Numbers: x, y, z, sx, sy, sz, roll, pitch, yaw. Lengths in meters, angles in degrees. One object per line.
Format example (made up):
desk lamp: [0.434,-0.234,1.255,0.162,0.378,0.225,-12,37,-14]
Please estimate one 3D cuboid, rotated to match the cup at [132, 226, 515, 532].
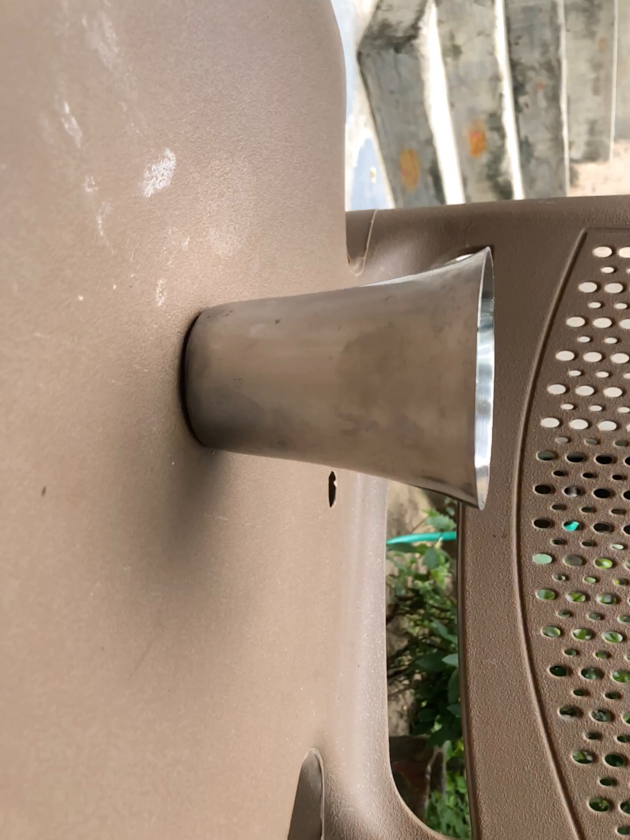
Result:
cup: [0.012,-0.015,0.238,0.080,0.099,0.070,-58,141,-57]
